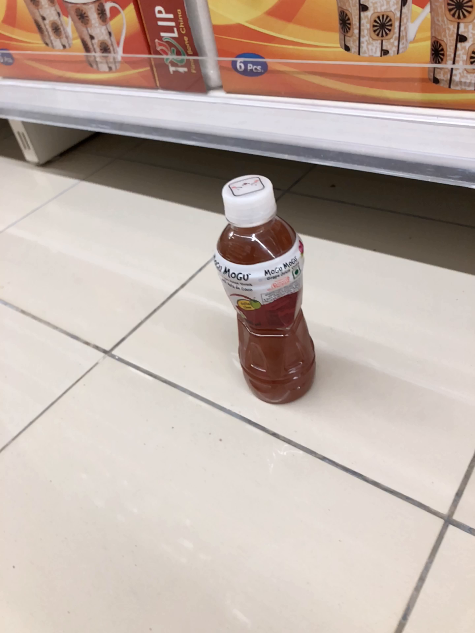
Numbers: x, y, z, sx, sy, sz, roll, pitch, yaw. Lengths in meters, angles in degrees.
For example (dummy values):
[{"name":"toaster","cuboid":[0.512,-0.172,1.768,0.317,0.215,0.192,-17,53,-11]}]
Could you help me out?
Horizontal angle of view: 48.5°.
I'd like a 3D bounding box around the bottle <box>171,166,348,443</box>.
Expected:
[{"name":"bottle","cuboid":[0.021,-0.004,0.353,0.070,0.159,0.070,-7,40,6]}]
